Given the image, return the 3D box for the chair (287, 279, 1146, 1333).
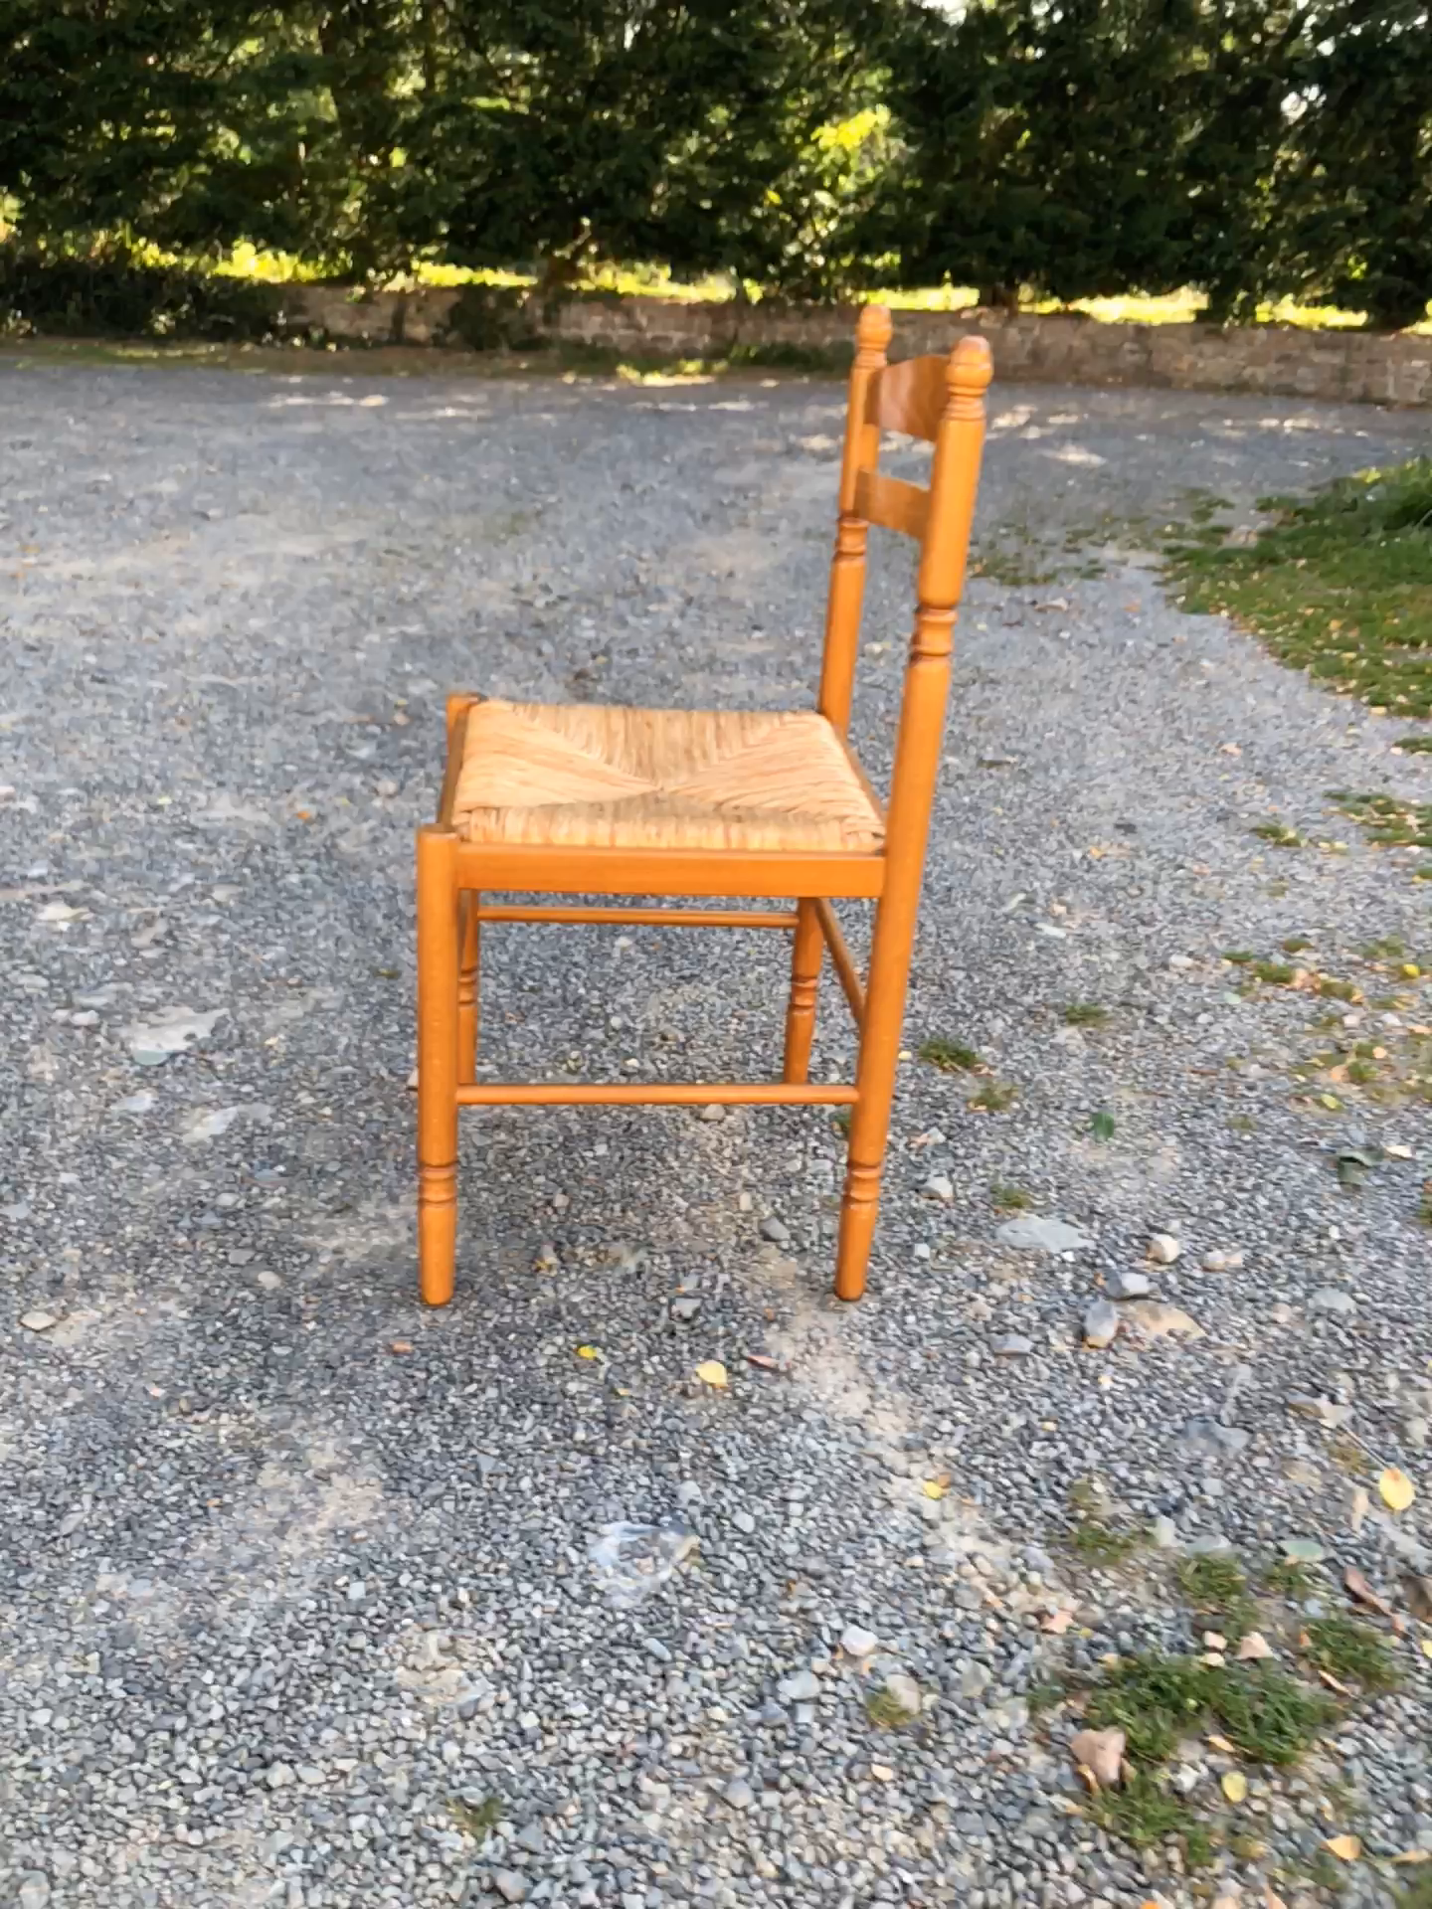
[{"bbox_3d":[-0.025,-0.153,1.339,0.520,0.736,0.513,-2,27,-6],"label":"chair"}]
